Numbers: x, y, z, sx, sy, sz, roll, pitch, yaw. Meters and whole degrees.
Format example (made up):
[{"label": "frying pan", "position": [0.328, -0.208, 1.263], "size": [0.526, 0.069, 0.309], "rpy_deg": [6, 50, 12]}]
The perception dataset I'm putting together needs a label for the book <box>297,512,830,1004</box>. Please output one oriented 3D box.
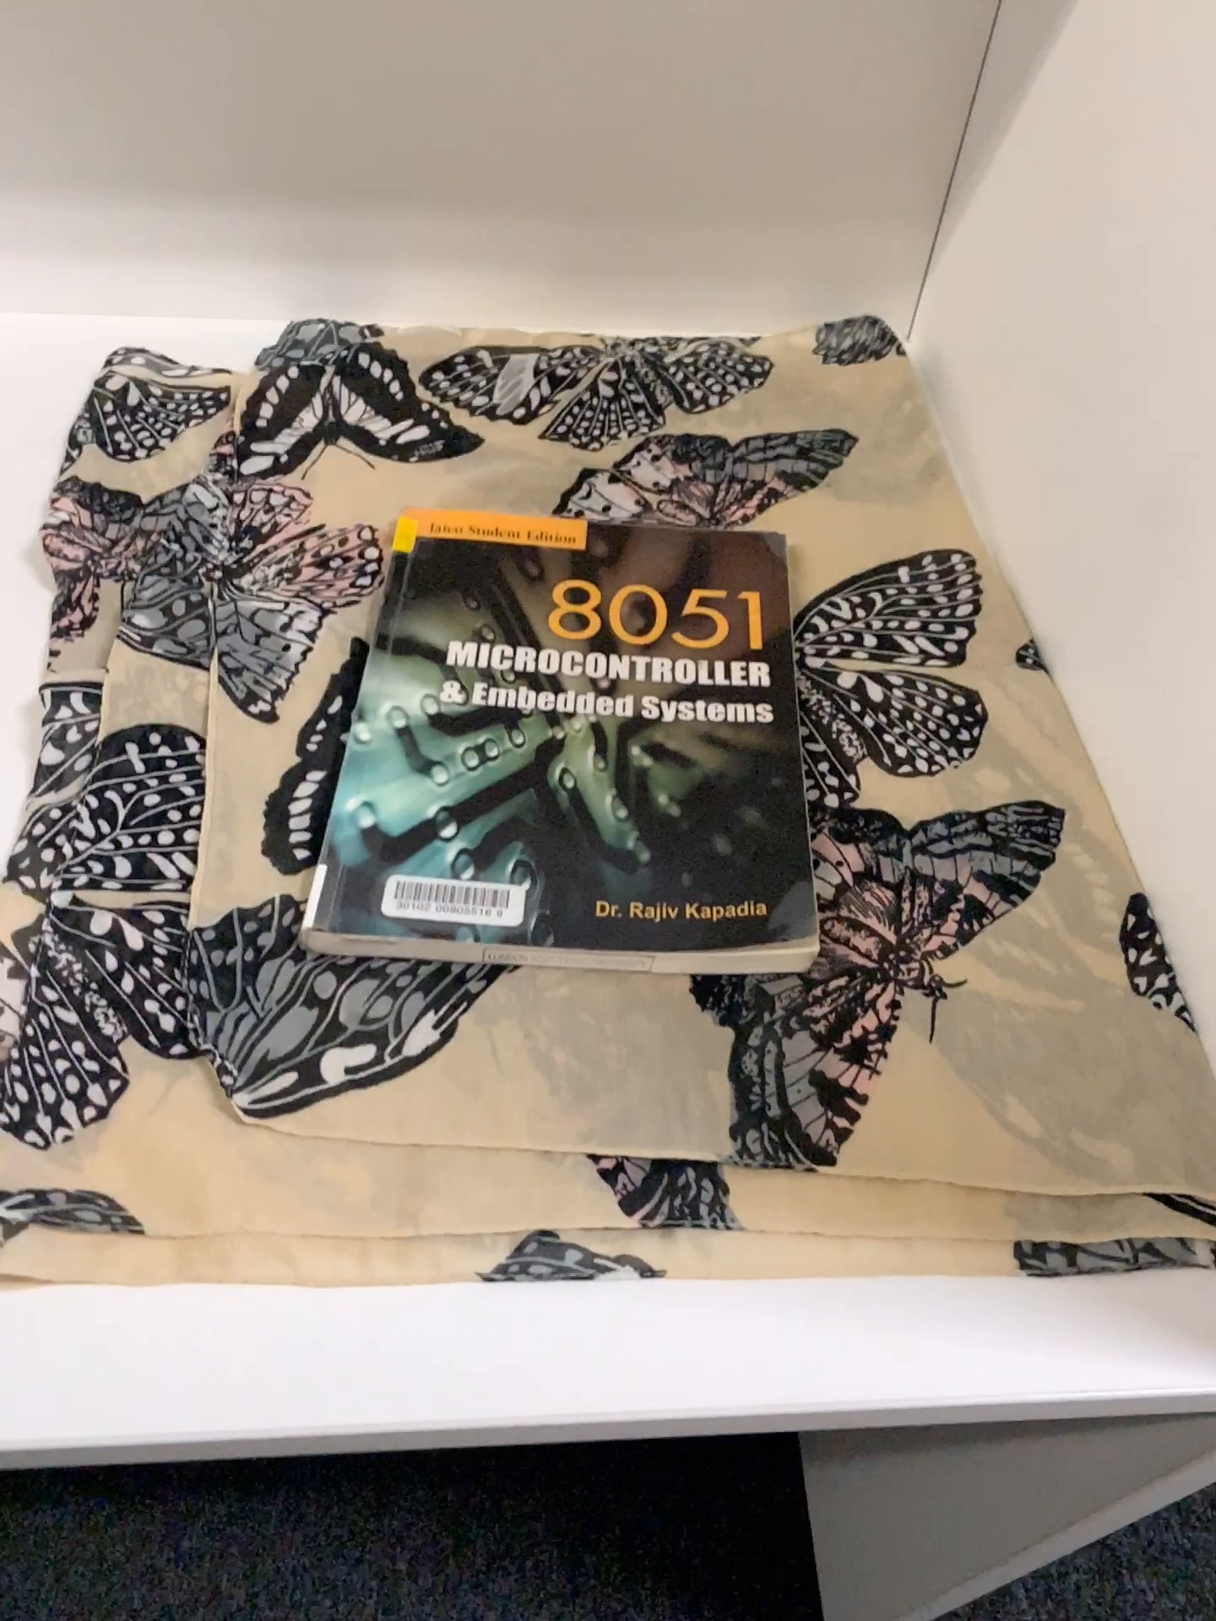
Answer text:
[{"label": "book", "position": [-0.011, -0.035, 0.511], "size": [0.183, 0.020, 0.238], "rpy_deg": [4, 50, -1]}]
